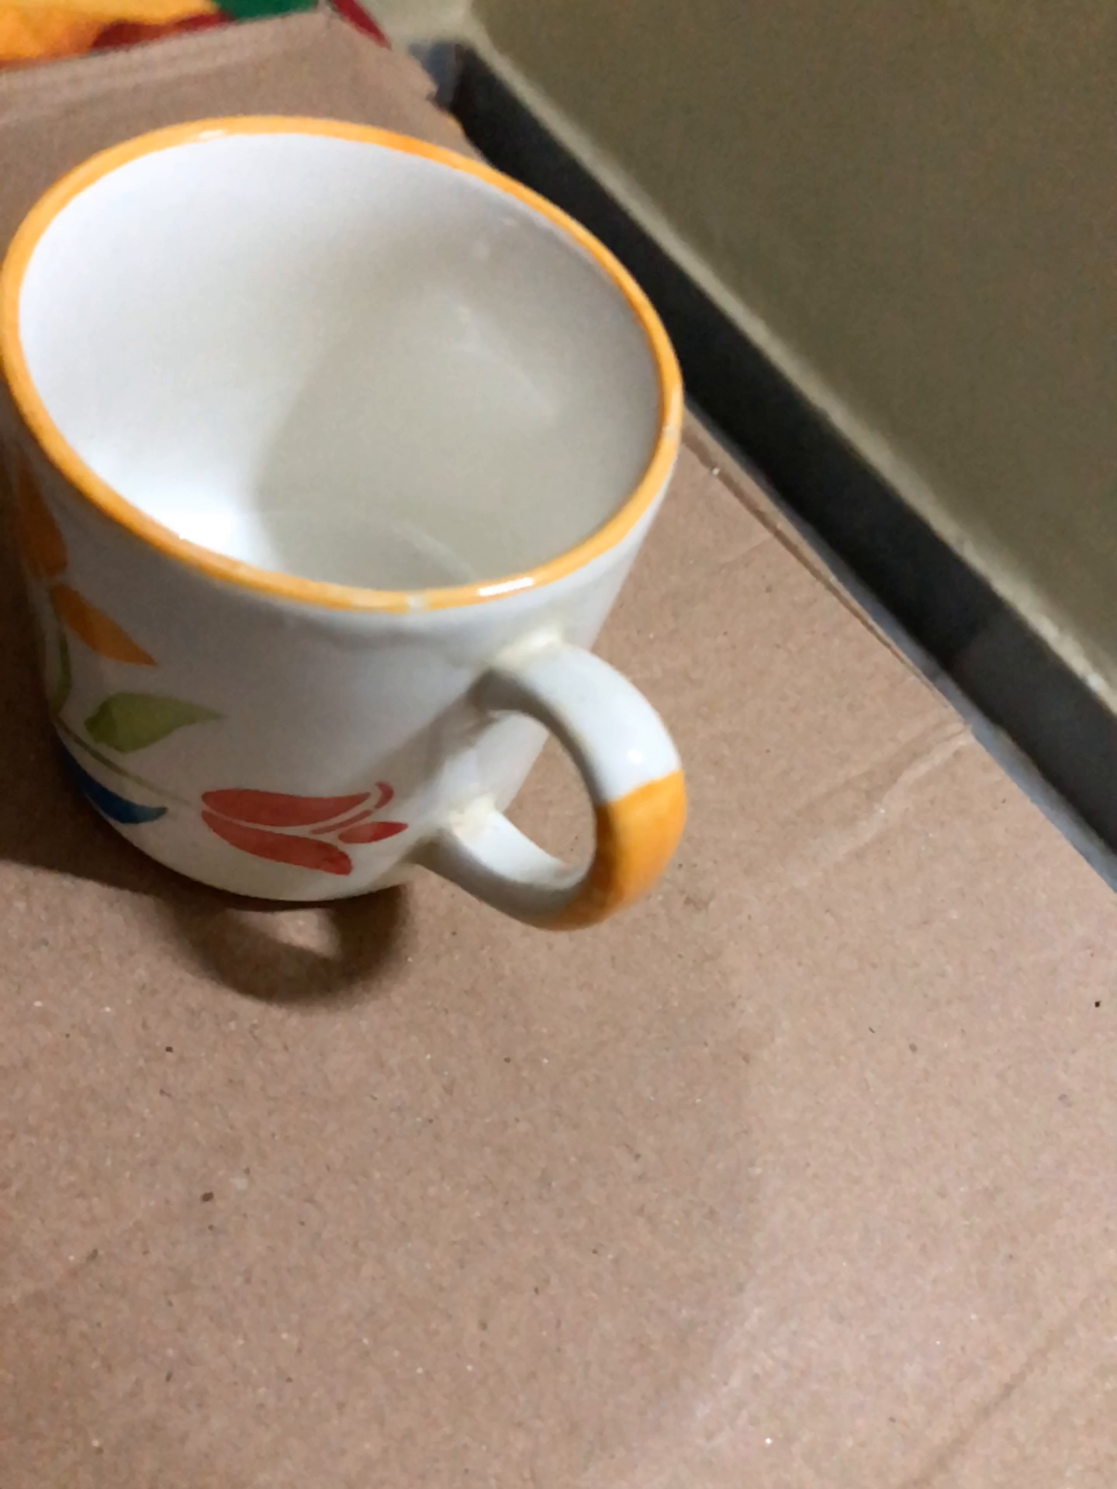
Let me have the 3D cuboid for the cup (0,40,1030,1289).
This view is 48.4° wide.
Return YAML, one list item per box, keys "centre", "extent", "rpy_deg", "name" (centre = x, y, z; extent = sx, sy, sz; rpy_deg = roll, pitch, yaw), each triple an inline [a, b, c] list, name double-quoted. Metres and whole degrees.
- centre: [-0.027, -0.016, 0.167]
  extent: [0.090, 0.079, 0.120]
  rpy_deg: [-34, 71, -34]
  name: "cup"
